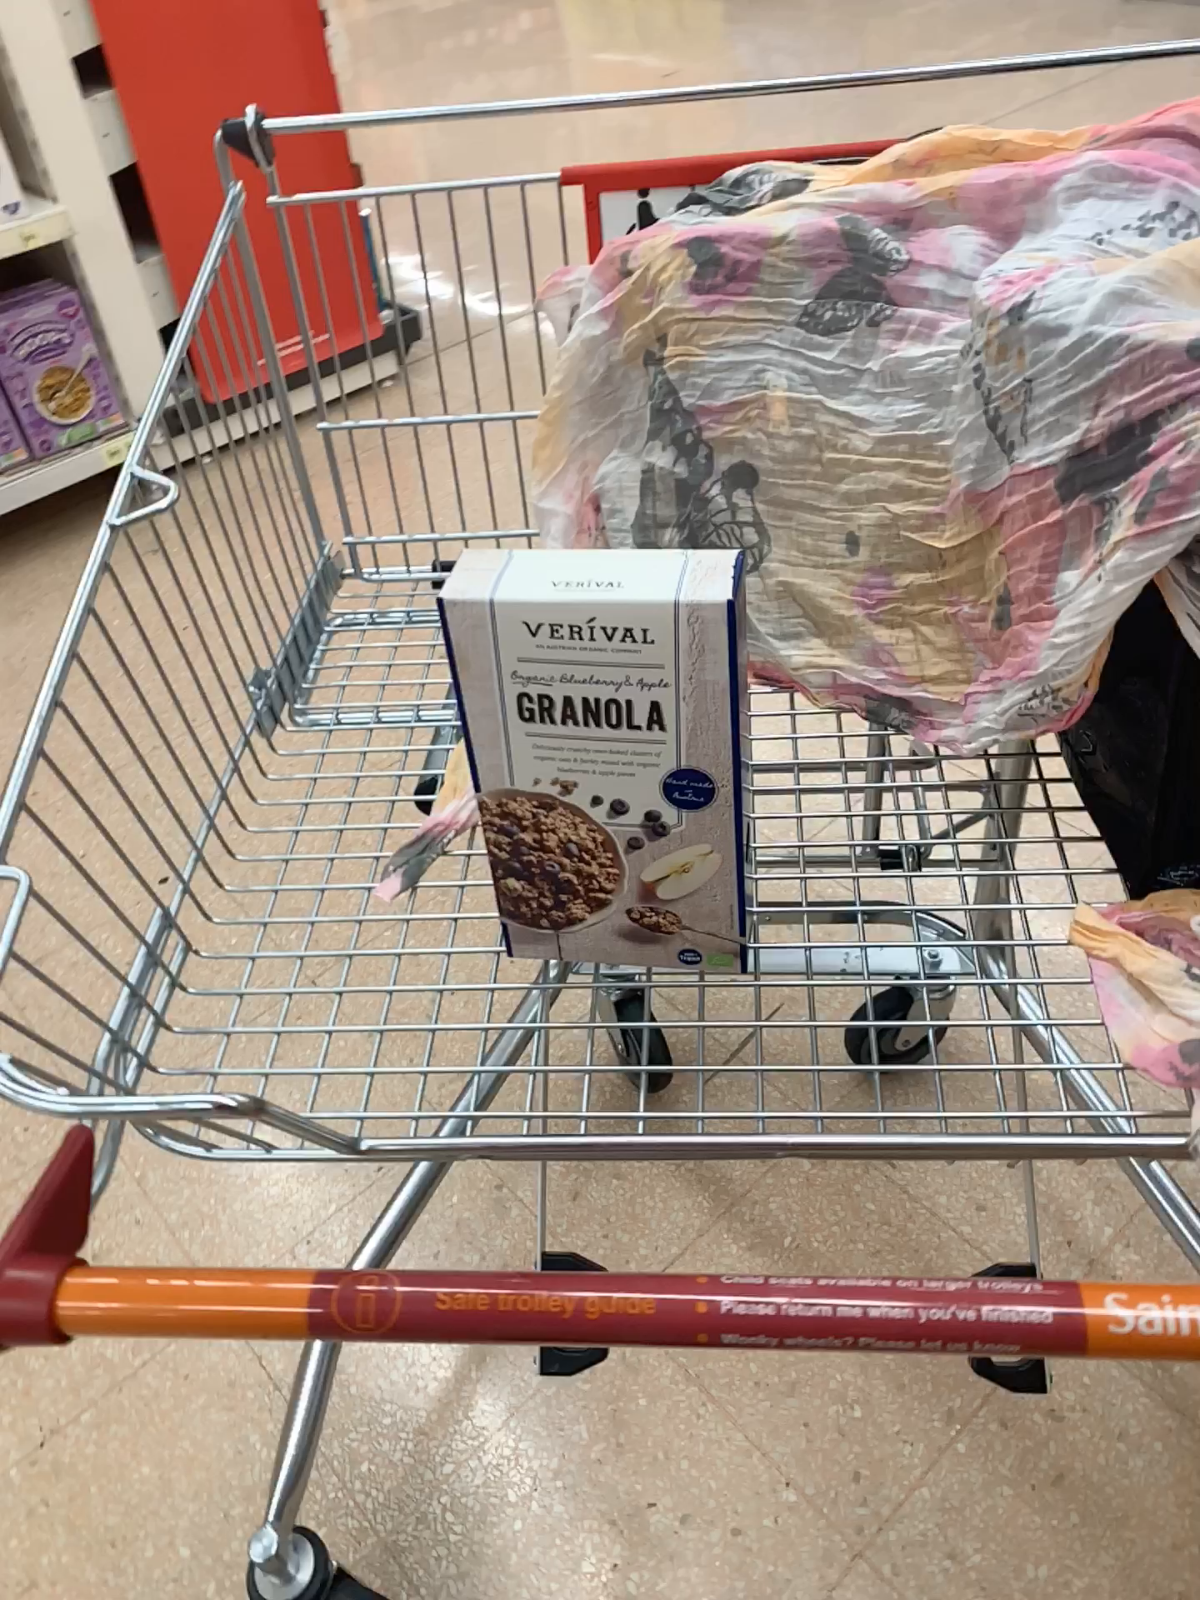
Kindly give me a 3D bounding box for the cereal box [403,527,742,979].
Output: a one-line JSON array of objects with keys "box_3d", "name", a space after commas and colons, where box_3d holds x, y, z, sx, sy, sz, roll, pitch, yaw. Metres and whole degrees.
[{"box_3d": [-0.003, -0.016, 0.599, 0.140, 0.228, 0.050, 3, 38, 10], "name": "cereal box"}]
